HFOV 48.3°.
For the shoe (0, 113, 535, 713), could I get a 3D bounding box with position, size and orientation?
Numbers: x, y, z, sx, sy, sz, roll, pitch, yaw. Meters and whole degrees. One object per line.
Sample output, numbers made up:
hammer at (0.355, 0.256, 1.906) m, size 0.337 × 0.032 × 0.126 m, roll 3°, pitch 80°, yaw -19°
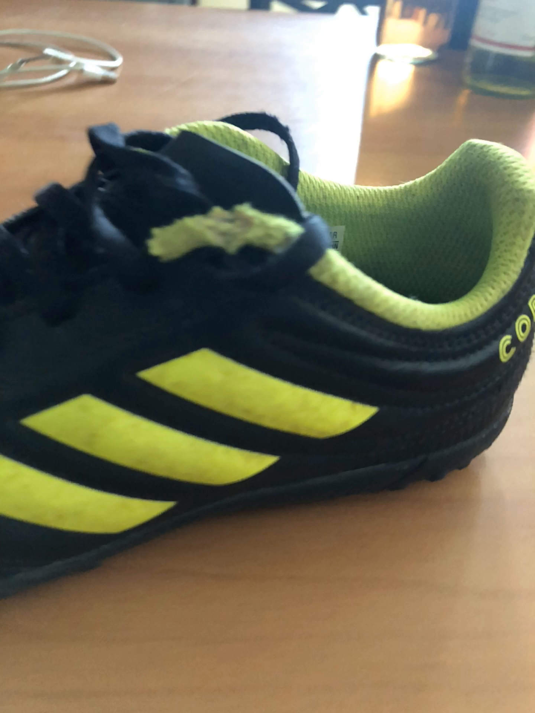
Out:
shoe at (-0.040, 0.001, 0.149) m, size 0.220 × 0.089 × 0.090 m, roll -7°, pitch 40°, yaw -14°
